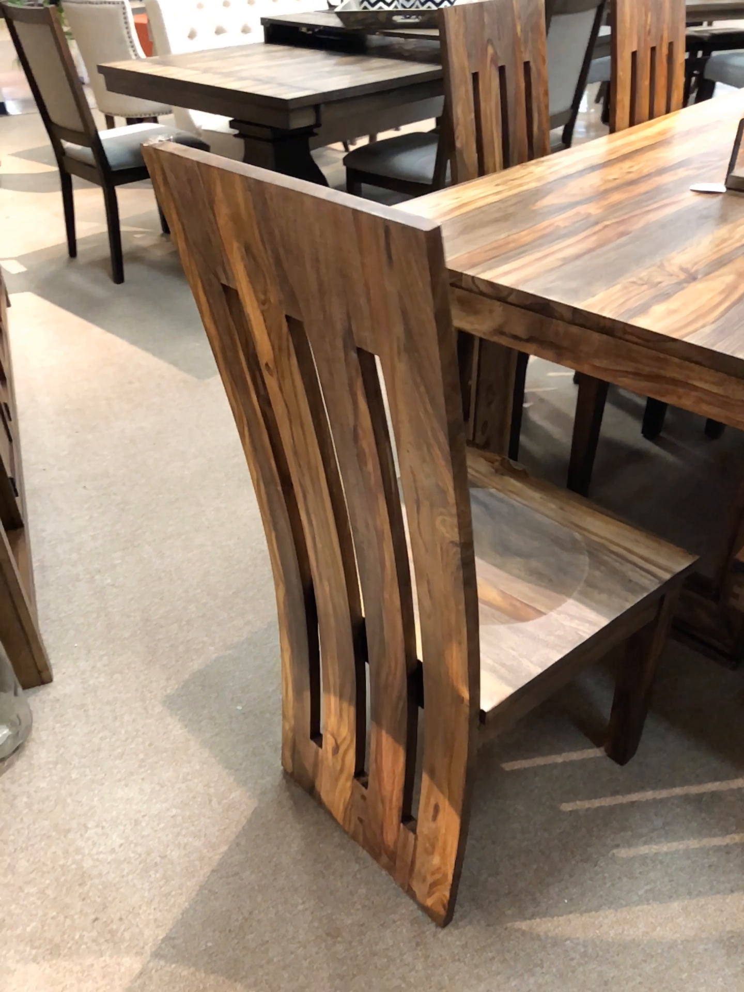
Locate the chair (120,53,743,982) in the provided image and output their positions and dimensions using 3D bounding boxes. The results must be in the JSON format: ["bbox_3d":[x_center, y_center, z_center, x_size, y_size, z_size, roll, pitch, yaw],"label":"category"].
[{"bbox_3d":[0.139,0.020,1.130,0.592,1.023,0.512,-29,45,-34],"label":"chair"}]
